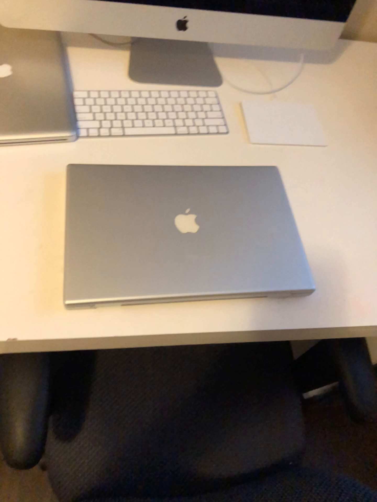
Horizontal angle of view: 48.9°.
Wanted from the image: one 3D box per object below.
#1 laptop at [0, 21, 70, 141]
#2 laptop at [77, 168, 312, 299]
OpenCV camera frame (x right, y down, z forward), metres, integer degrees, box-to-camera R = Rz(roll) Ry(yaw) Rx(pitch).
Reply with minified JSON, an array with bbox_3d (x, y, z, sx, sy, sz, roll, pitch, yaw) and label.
[{"bbox_3d":[-0.315,-0.309,0.721,0.200,0.009,0.279,-6,62,-17],"label":"laptop"},{"bbox_3d":[0.007,-0.040,0.623,0.332,0.005,0.215,-2,61,-12],"label":"laptop"}]
